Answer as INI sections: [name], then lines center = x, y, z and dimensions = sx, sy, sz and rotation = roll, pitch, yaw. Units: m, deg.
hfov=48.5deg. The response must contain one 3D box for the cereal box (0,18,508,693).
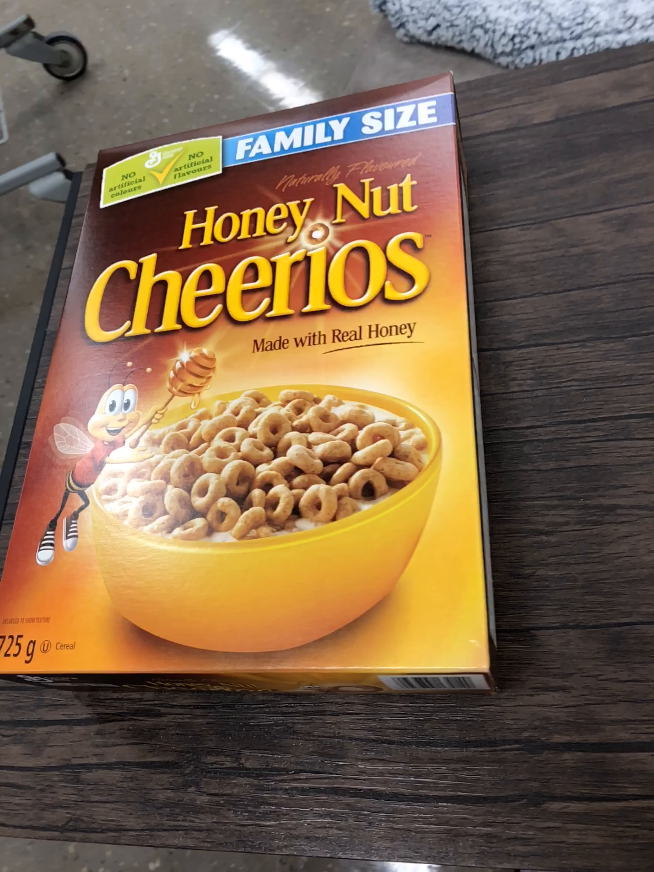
[cereal box]
center = -0.039, -0.054, 0.429
dimensions = 0.250, 0.080, 0.380
rotation = -6, 63, 17
